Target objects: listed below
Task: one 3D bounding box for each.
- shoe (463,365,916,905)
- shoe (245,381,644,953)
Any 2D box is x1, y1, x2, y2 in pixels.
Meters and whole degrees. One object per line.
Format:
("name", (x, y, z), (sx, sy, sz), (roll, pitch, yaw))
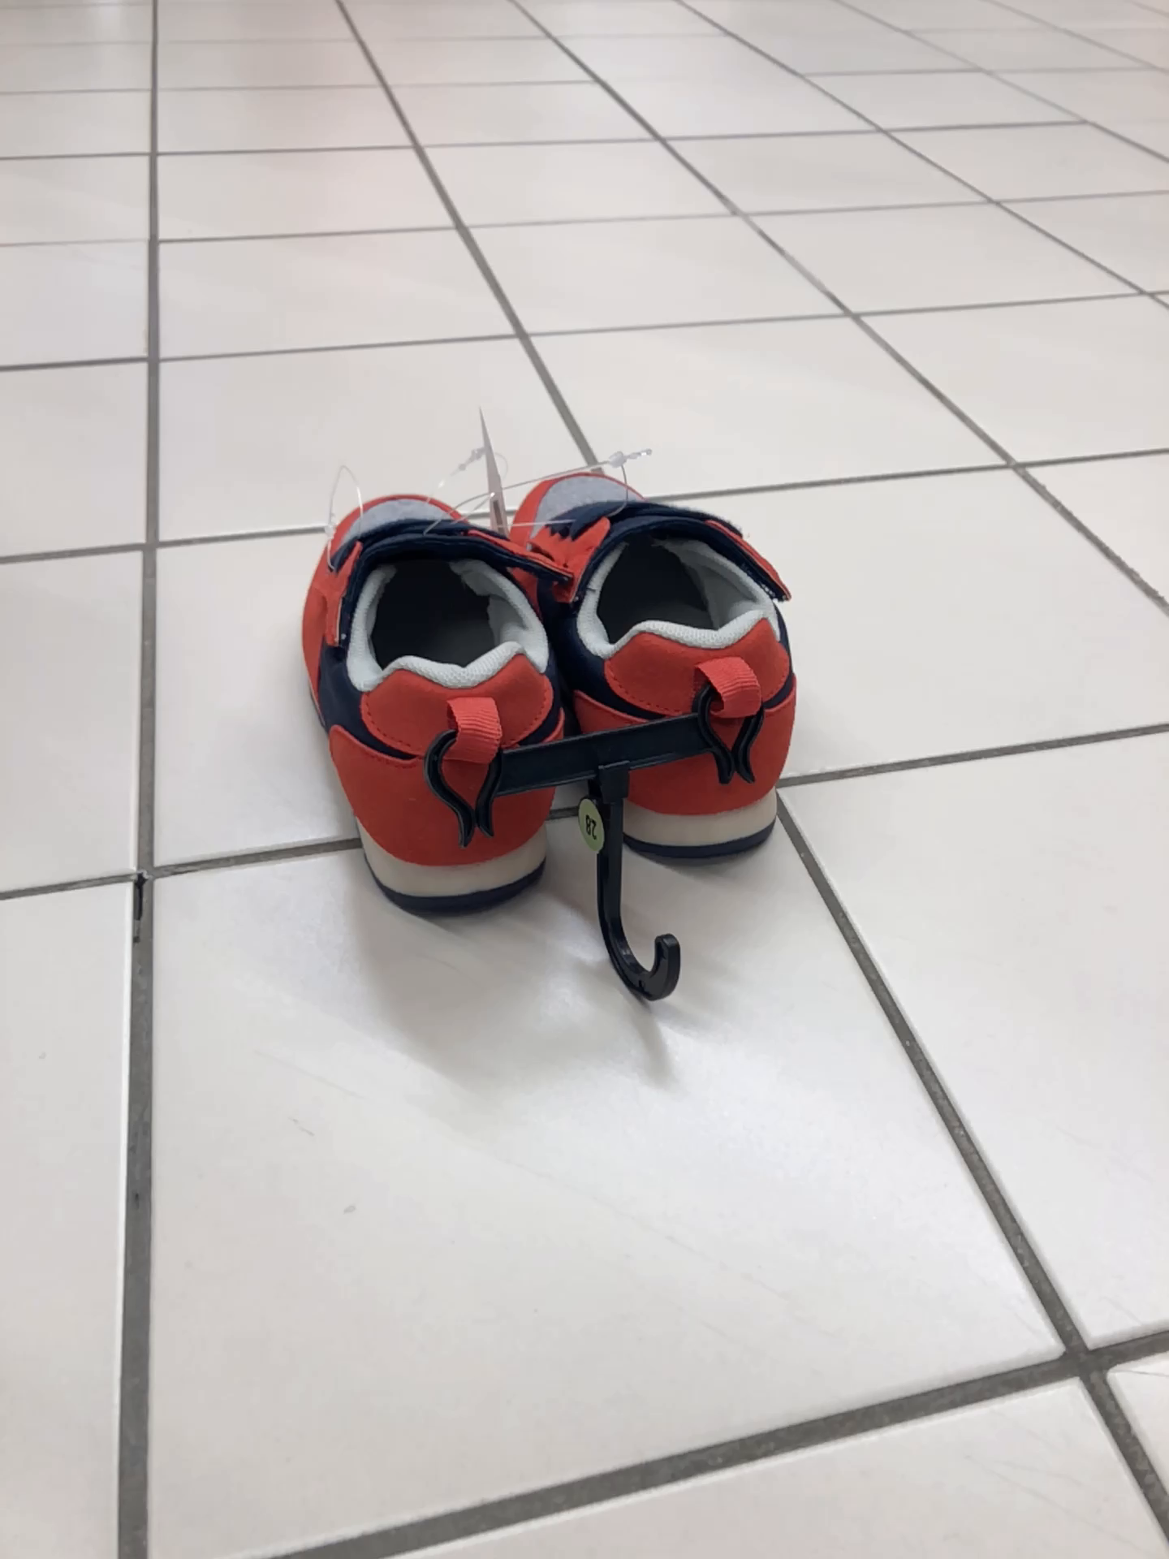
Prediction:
("shoe", (0.022, -0.060, 0.432), (0.082, 0.083, 0.187), (-10, 41, -14))
("shoe", (-0.053, -0.048, 0.416), (0.082, 0.083, 0.189), (-10, 41, -14))
